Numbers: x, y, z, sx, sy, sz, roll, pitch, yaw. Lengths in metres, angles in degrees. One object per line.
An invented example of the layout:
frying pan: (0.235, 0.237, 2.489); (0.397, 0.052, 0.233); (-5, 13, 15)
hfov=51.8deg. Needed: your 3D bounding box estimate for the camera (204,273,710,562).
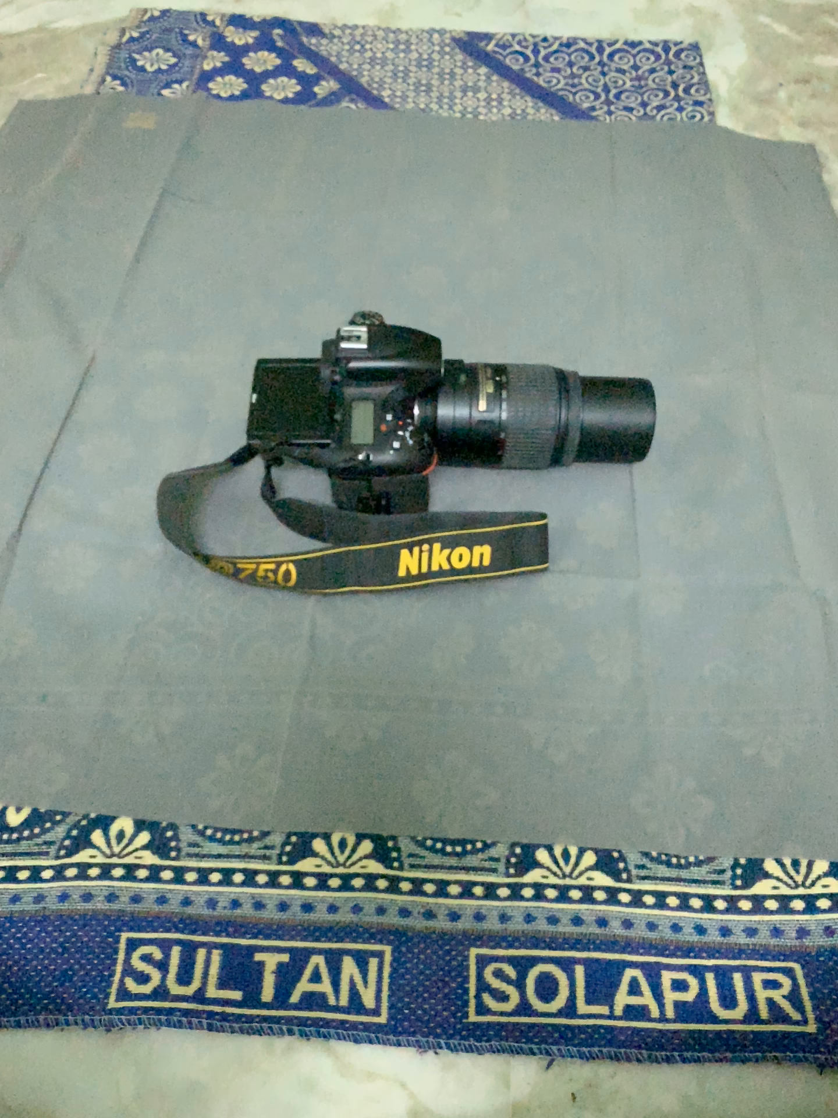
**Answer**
camera: (0.024, -0.094, 0.577); (0.288, 0.110, 0.147); (2, 58, 2)
